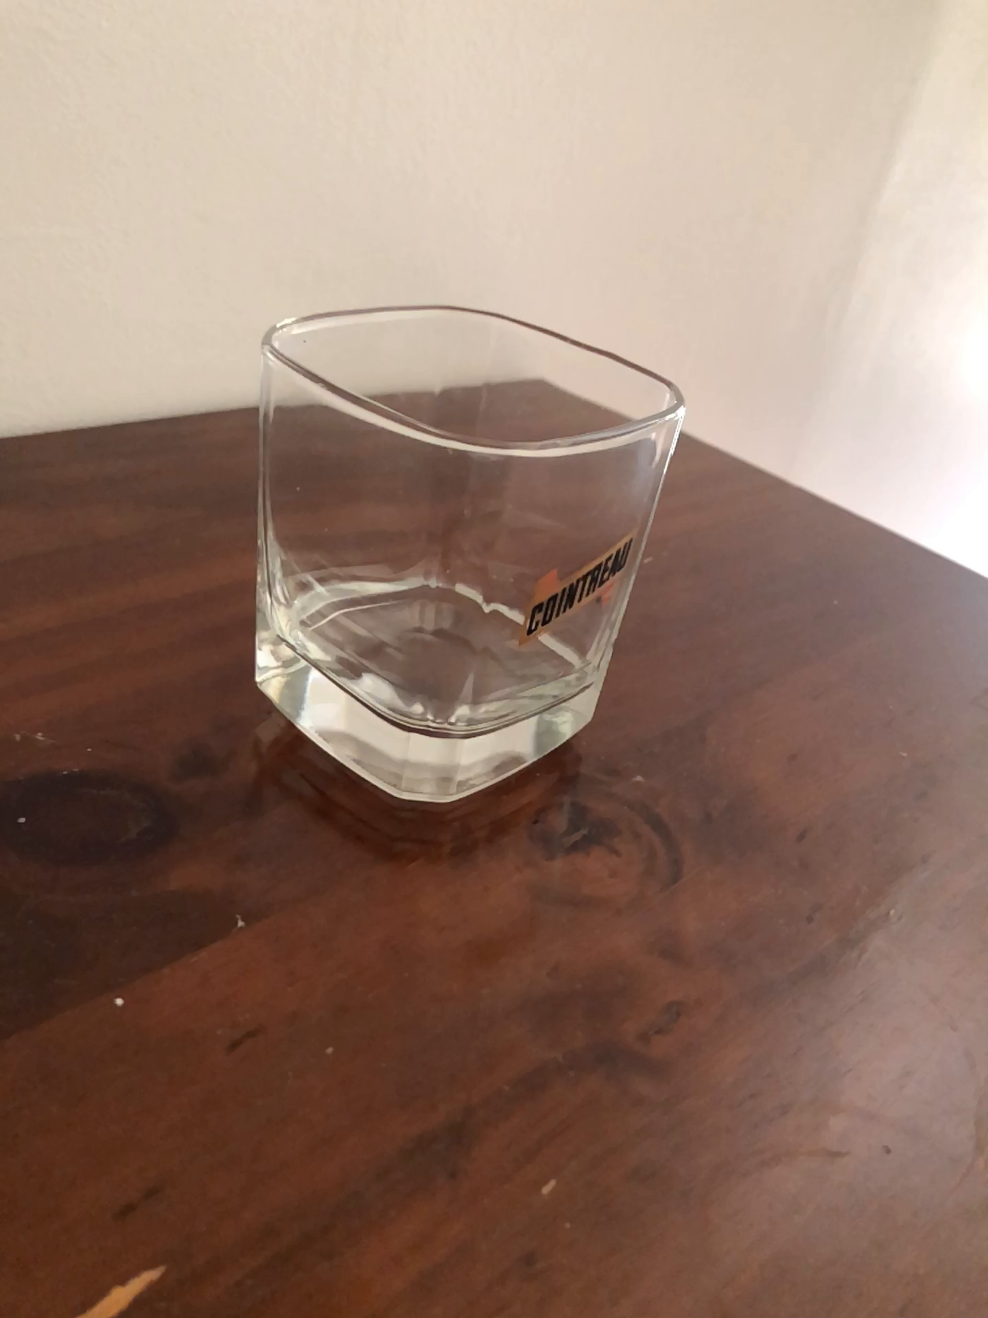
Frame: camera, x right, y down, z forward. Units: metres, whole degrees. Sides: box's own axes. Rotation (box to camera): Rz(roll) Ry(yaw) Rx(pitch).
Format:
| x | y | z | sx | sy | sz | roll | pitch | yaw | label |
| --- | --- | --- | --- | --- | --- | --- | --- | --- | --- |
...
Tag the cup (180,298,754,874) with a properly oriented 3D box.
| x | y | z | sx | sy | sz | roll | pitch | yaw | label |
| --- | --- | --- | --- | --- | --- | --- | --- | --- | --- |
| -0.009 | -0.024 | 0.248 | 0.080 | 0.085 | 0.087 | 8 | 31 | -5 | cup |
